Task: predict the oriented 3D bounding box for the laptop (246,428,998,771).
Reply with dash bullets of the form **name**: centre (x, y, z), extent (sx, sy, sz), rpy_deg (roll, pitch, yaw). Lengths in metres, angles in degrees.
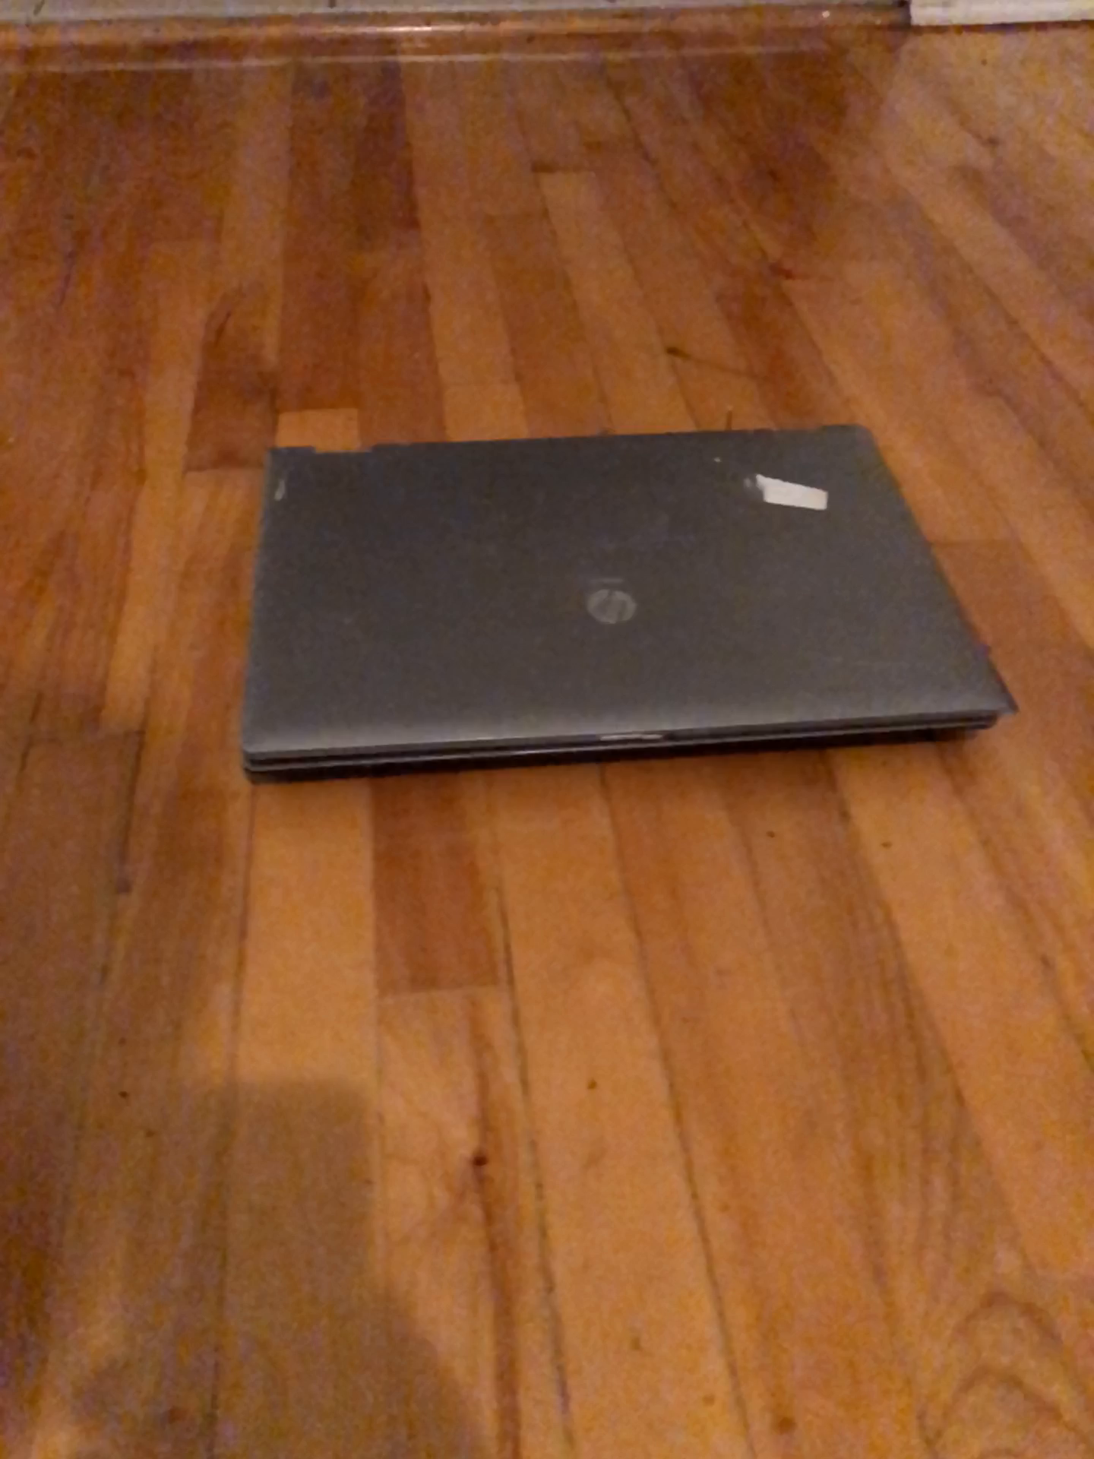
- **laptop**: centre (0.029, -0.085, 0.658), extent (0.362, 0.010, 0.242), rpy_deg (-4, 48, -5)
